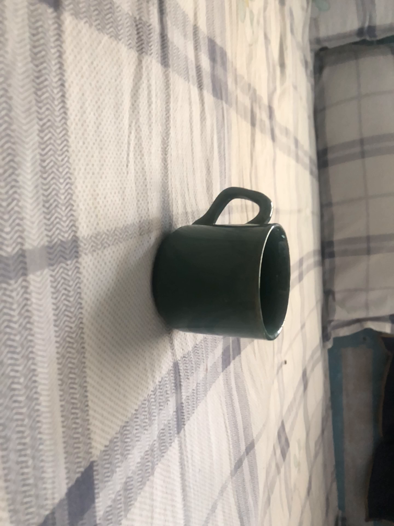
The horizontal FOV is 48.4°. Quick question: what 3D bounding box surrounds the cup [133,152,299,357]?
[{"bbox_3d":[0.018,-0.003,0.239,0.070,0.060,0.080,64,32,-47],"label":"cup"}]
